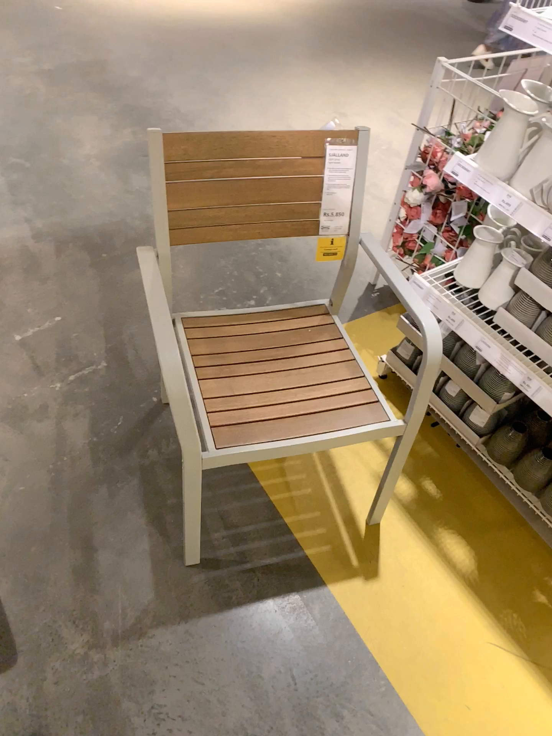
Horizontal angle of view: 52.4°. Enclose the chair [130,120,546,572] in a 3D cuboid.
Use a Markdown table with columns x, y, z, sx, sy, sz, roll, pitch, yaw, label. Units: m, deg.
| x | y | z | sx | sy | sz | roll | pitch | yaw | label |
| --- | --- | --- | --- | --- | --- | --- | --- | --- | --- |
| 0.023 | -0.046 | 1.237 | 0.560 | 0.728 | 0.602 | -7 | 49 | -15 | chair |
